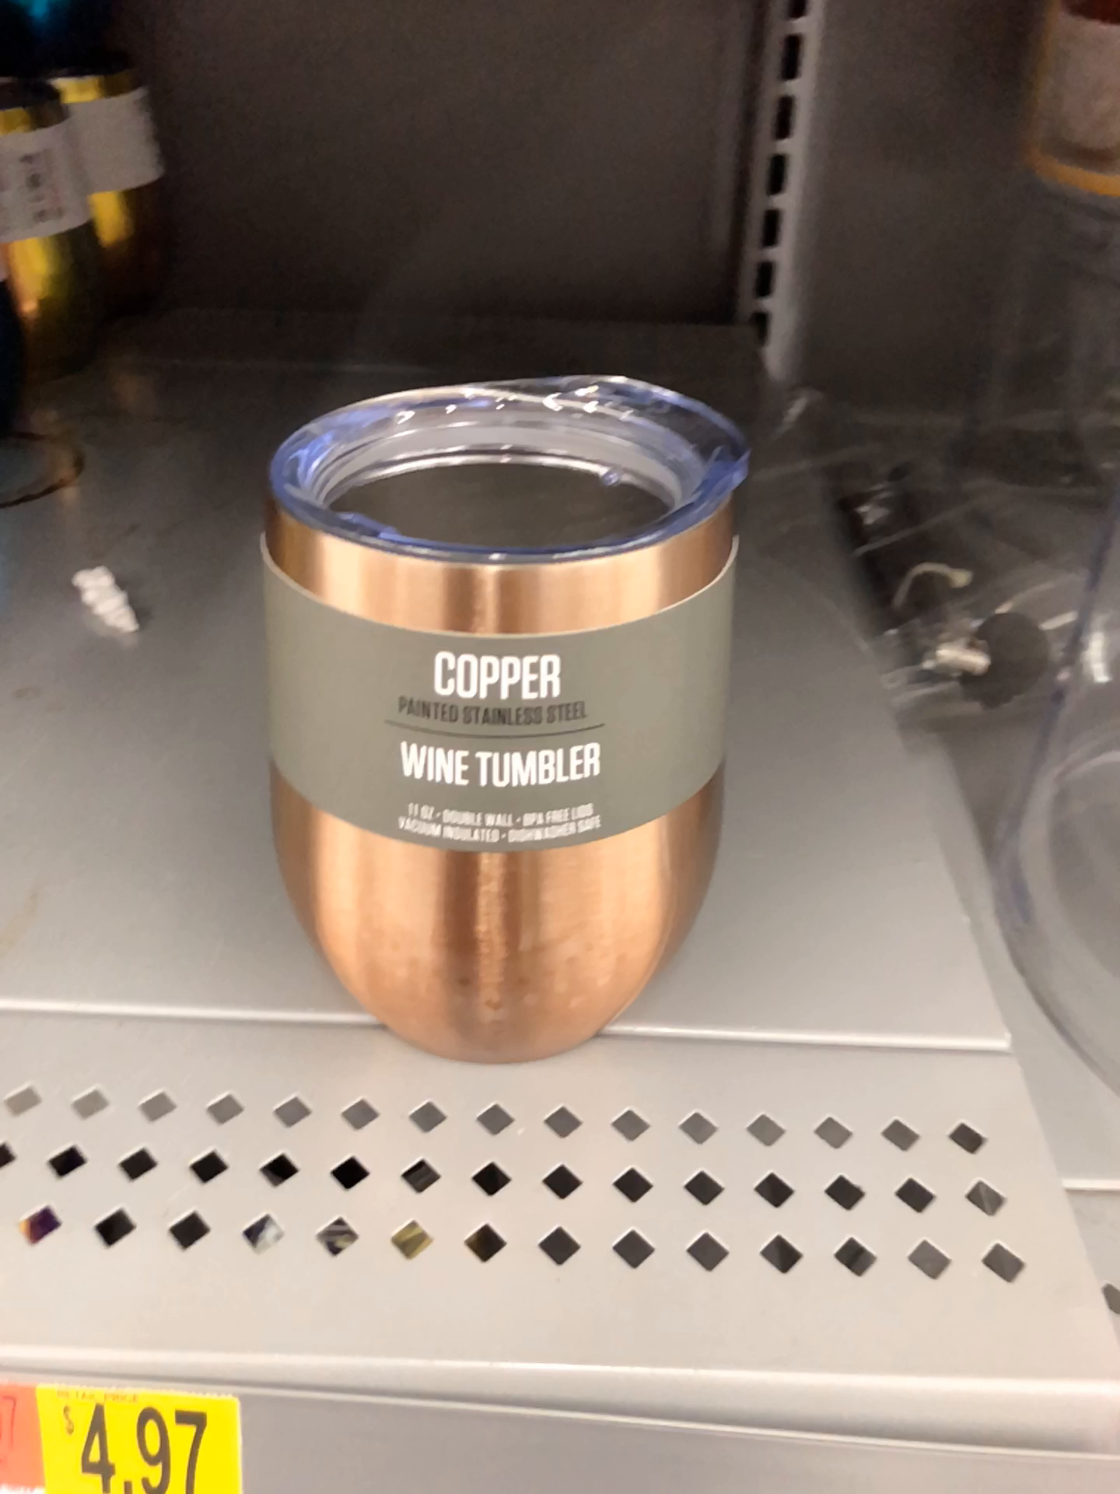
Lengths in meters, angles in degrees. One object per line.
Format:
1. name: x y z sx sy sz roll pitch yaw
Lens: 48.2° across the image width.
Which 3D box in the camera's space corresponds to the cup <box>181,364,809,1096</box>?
1. cup: -0.012 -0.001 0.239 0.088 0.121 0.068 0 36 -3
